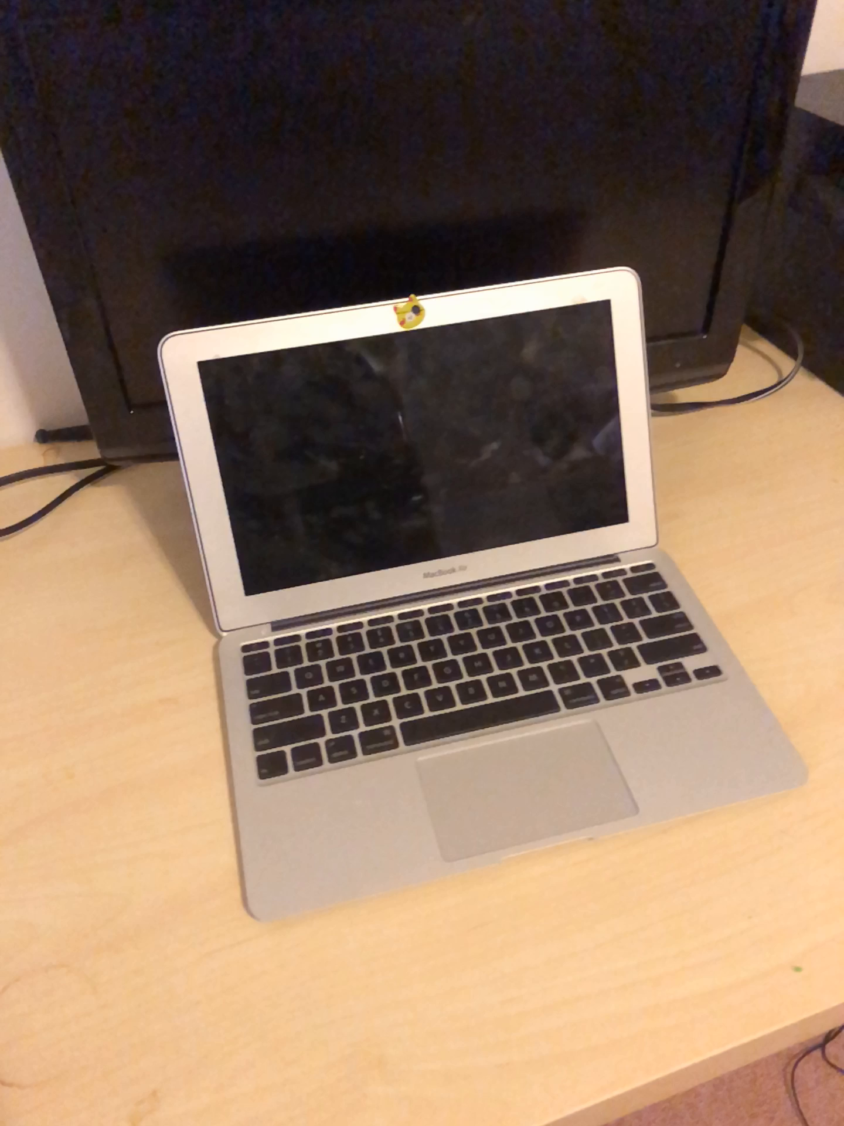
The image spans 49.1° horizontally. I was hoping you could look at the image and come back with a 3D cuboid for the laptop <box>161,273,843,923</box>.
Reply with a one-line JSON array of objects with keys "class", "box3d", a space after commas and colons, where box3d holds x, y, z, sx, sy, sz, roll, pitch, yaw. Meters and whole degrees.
[{"class": "laptop", "box3d": [0.024, -0.005, 0.512, 0.290, 0.160, 0.276, -11, 43, -9]}]
